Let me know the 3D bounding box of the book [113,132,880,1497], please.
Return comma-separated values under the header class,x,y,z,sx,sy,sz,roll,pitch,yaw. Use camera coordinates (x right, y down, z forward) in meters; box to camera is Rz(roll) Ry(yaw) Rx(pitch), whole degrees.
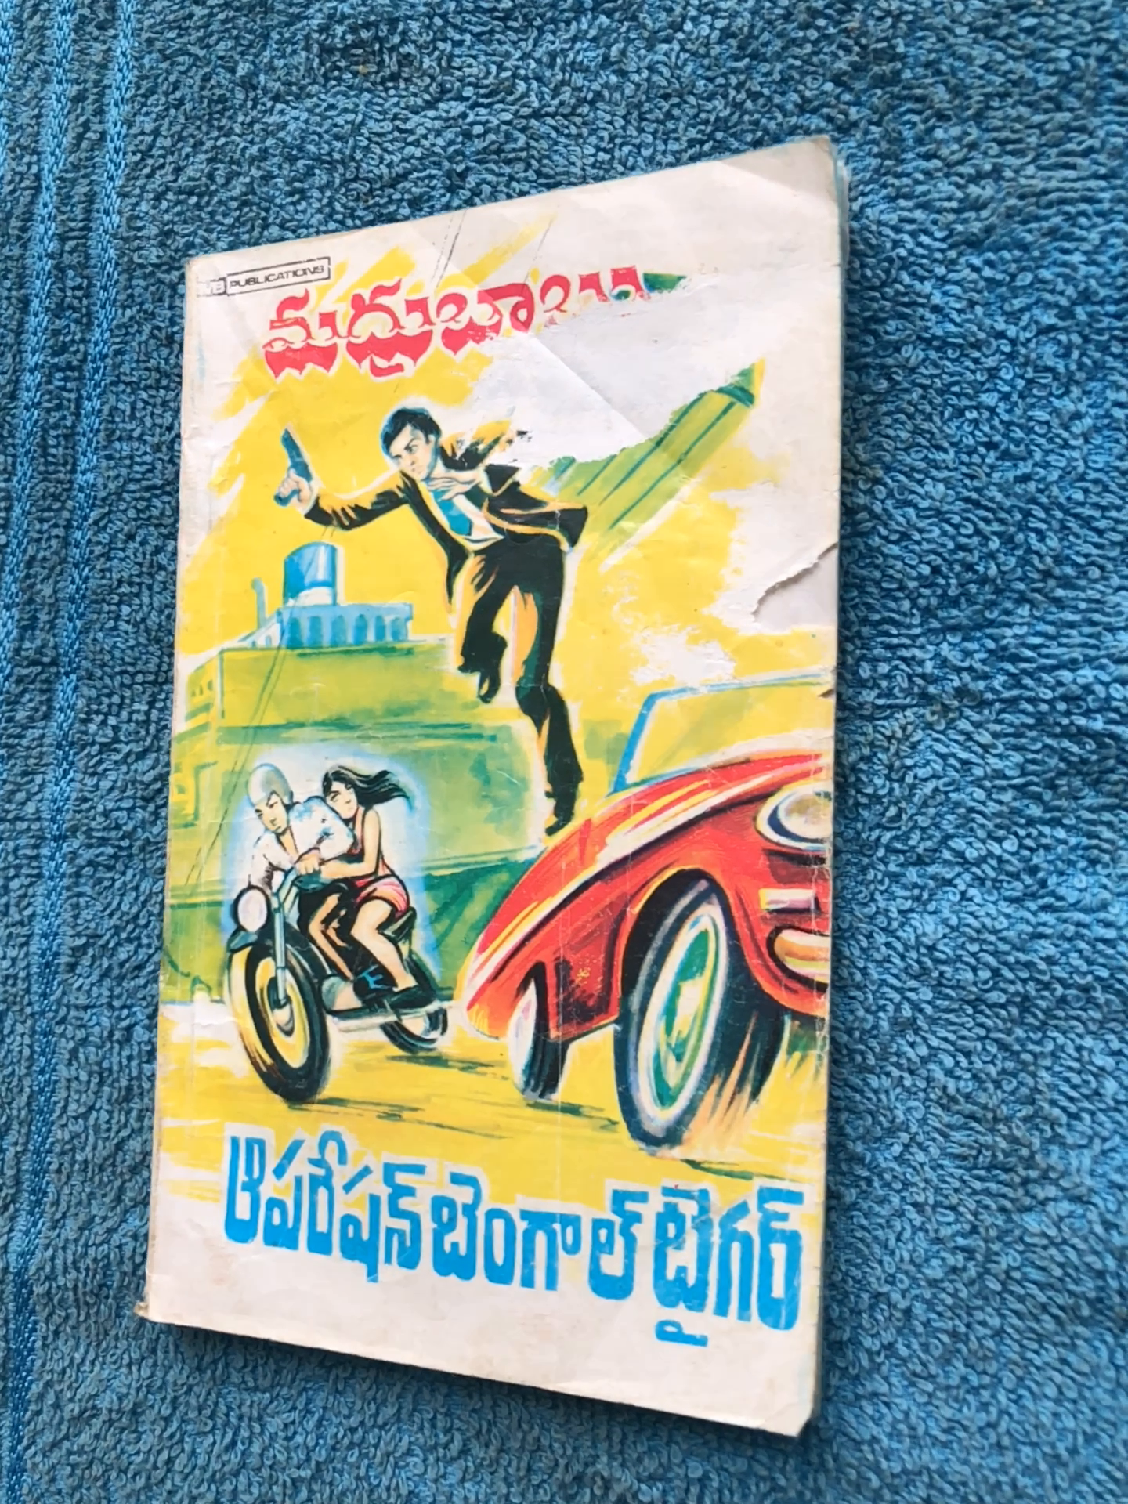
class,x,y,z,sx,sy,sz,roll,pitch,yaw
book,-0.010,0.005,0.174,0.100,0.020,0.160,0,86,19
